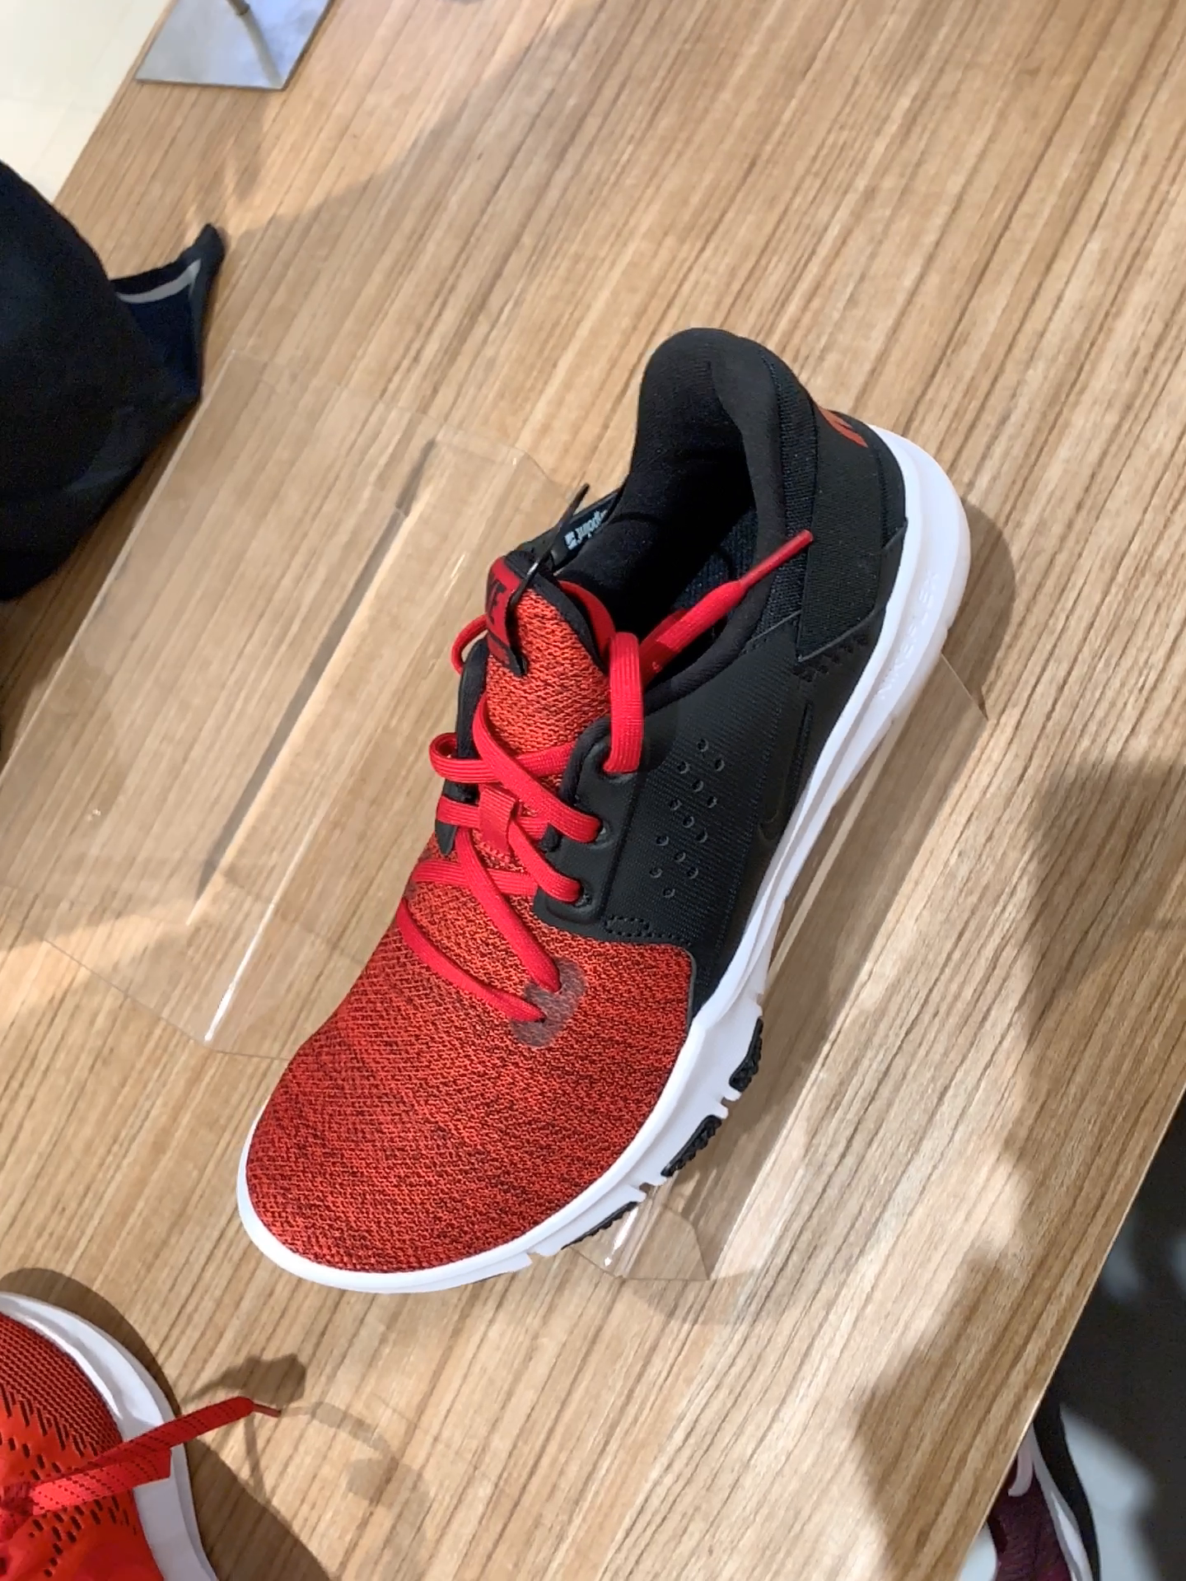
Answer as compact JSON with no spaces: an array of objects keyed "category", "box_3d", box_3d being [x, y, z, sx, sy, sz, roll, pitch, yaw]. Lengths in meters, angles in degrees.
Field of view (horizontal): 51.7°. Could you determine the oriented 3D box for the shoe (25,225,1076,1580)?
[{"category":"shoe","box_3d":[-0.005,0.017,0.305,0.111,0.080,0.290,28,86,31]}]
